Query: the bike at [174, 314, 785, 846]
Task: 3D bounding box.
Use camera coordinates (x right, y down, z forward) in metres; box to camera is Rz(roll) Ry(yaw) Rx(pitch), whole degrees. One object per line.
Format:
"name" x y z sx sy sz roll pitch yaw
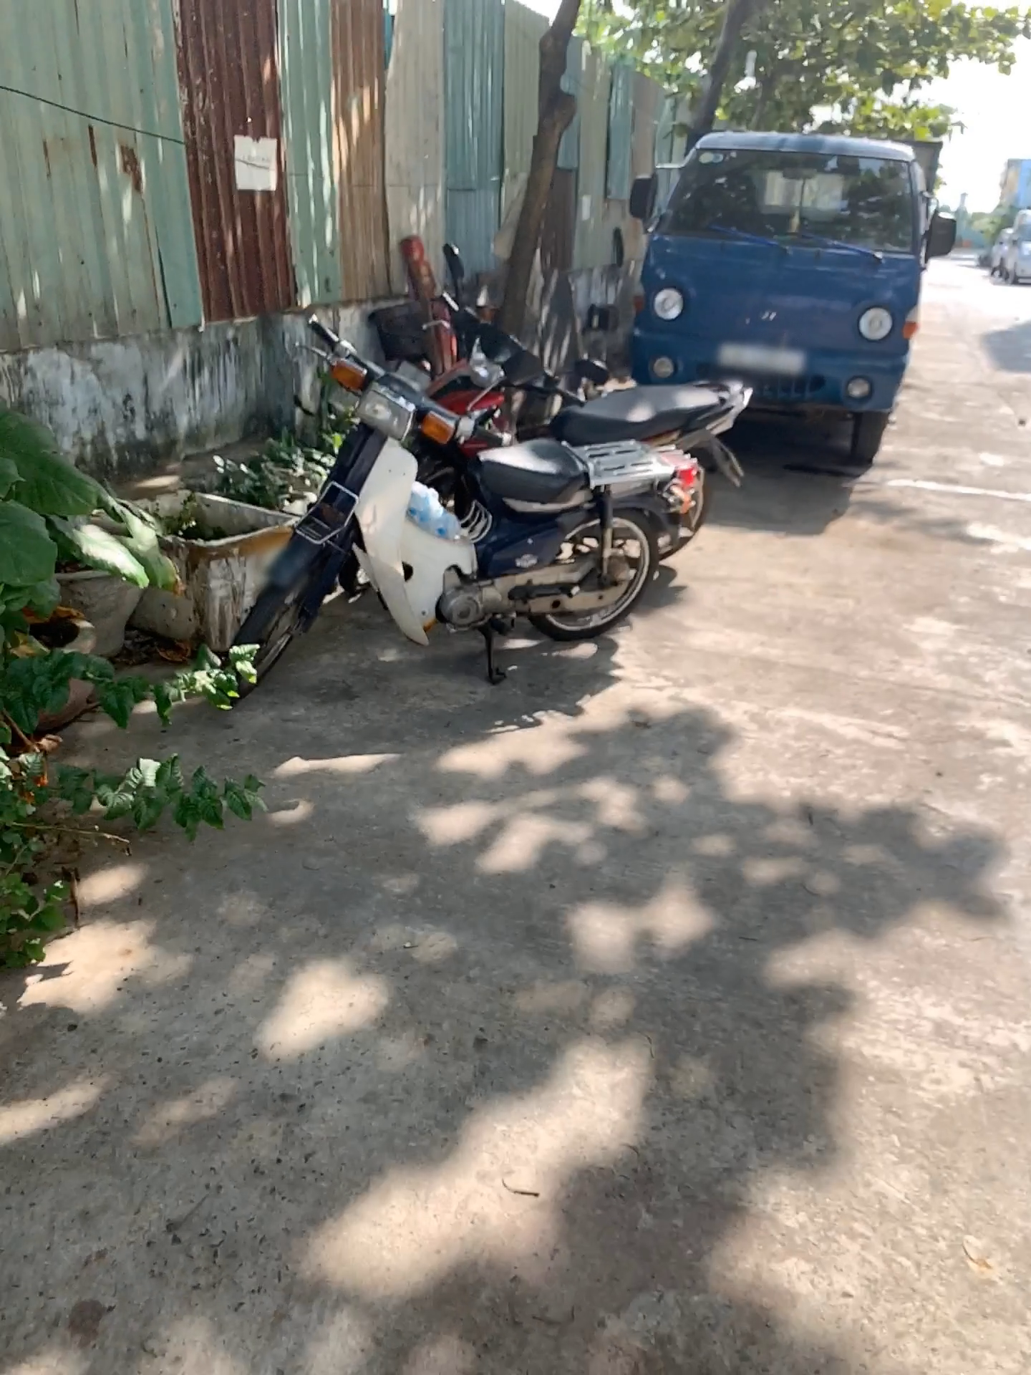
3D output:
"bike" -0.068 -0.406 2.956 1.478 1.024 0.654 -18 31 -34
